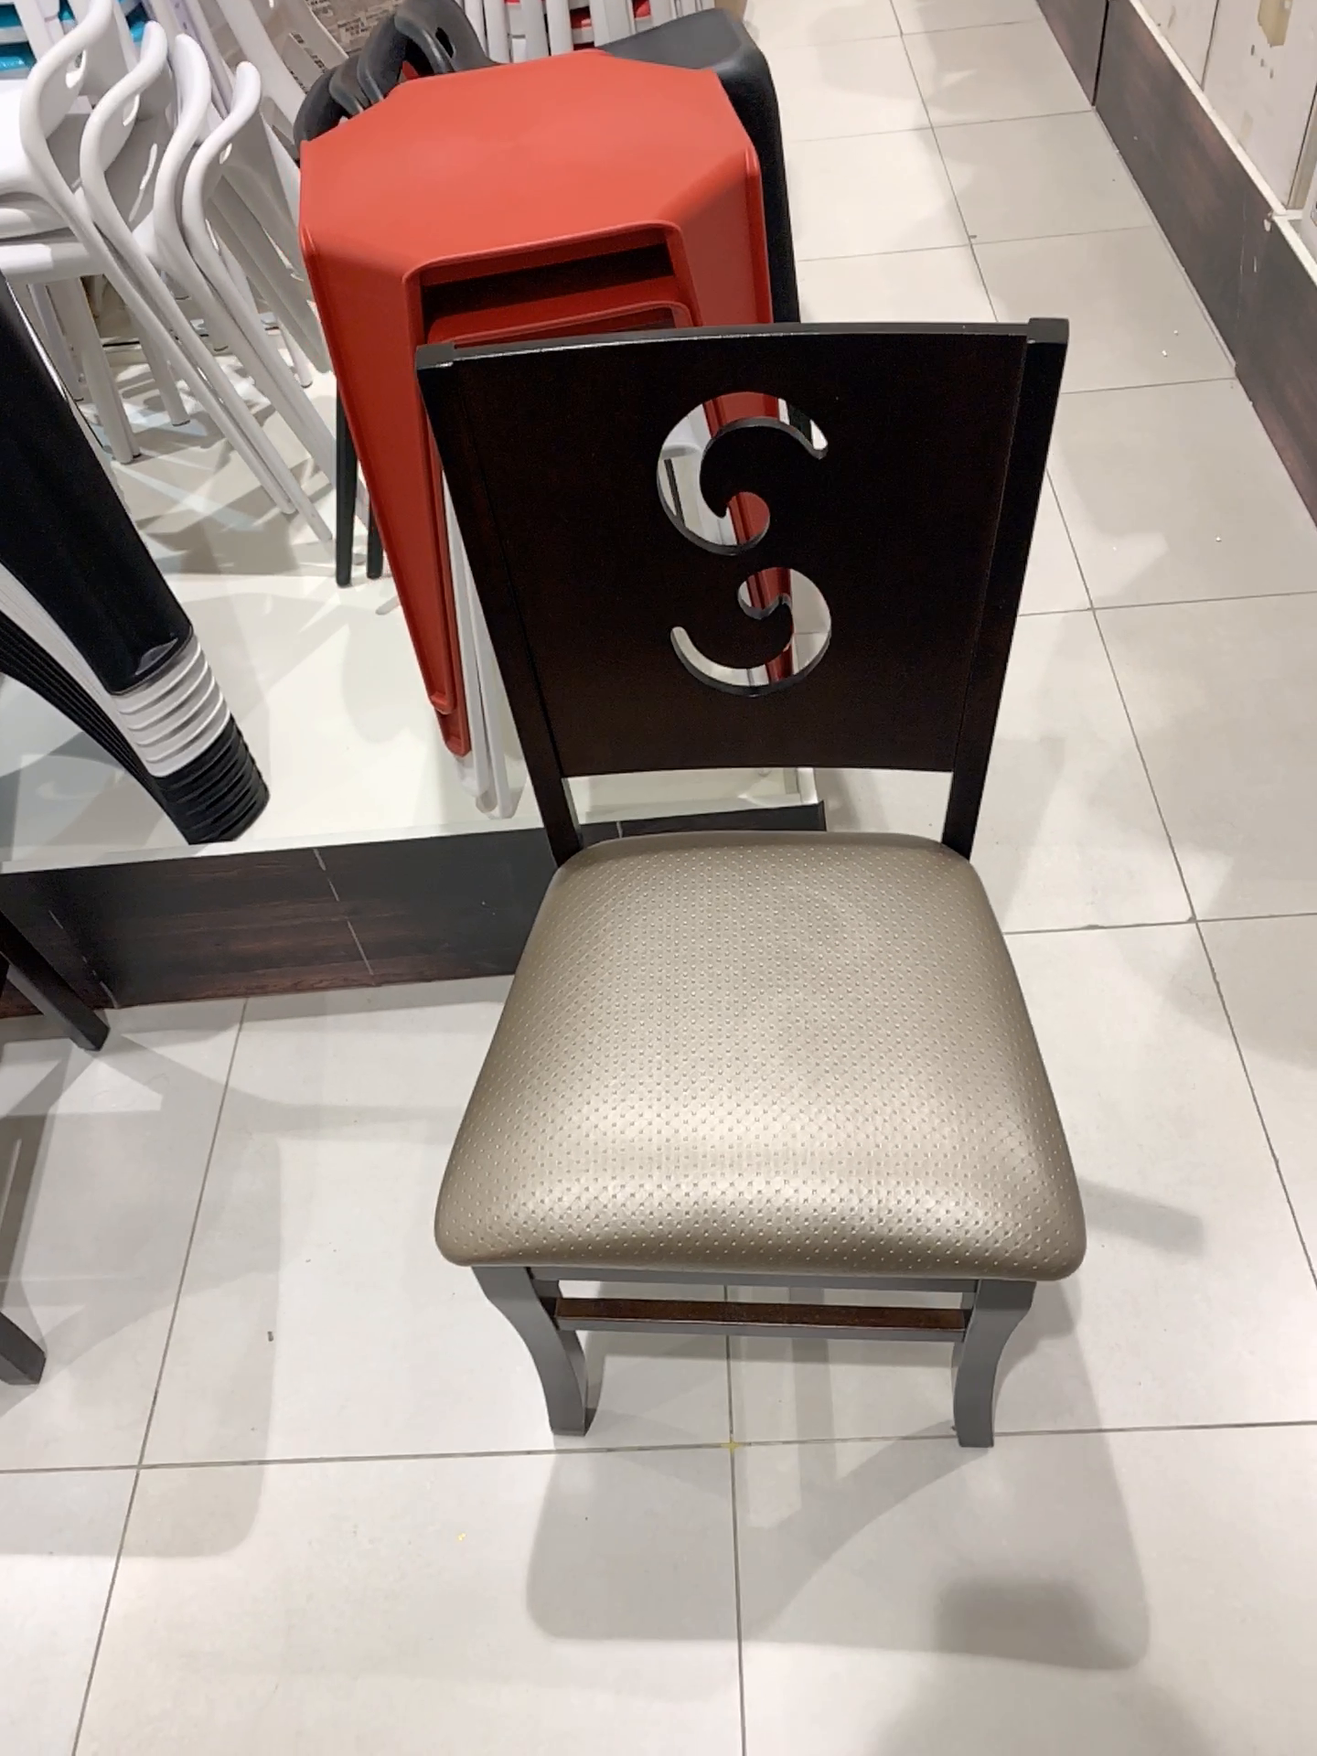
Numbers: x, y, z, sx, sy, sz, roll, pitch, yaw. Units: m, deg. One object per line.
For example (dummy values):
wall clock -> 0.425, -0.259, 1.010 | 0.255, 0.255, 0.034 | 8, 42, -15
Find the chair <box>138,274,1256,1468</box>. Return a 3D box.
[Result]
chair -> 0.046, 0.068, 1.089 | 0.500, 0.847, 0.522 | -2, 49, 4
